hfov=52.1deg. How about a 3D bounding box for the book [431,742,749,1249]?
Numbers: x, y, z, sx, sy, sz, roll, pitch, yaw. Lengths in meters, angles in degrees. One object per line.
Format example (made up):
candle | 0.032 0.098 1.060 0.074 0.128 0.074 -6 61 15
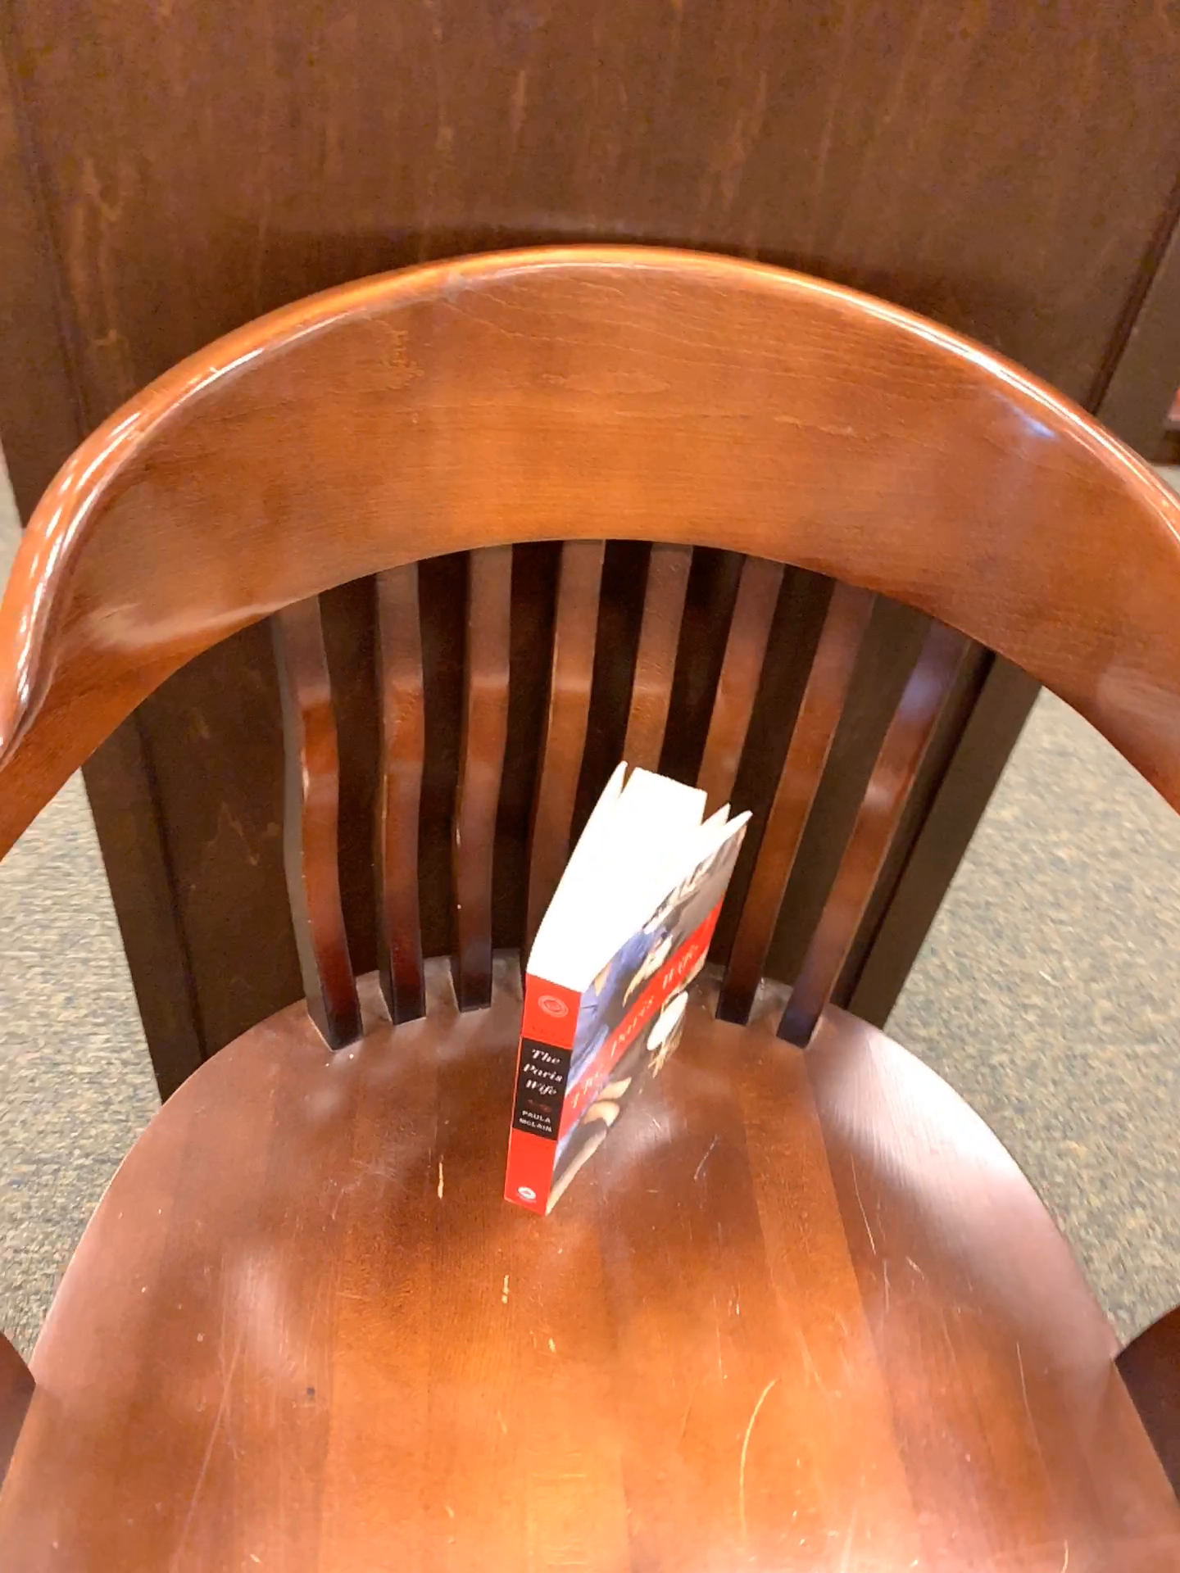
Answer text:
book | -0.004 0.106 0.602 0.071 0.199 0.150 26 46 15
